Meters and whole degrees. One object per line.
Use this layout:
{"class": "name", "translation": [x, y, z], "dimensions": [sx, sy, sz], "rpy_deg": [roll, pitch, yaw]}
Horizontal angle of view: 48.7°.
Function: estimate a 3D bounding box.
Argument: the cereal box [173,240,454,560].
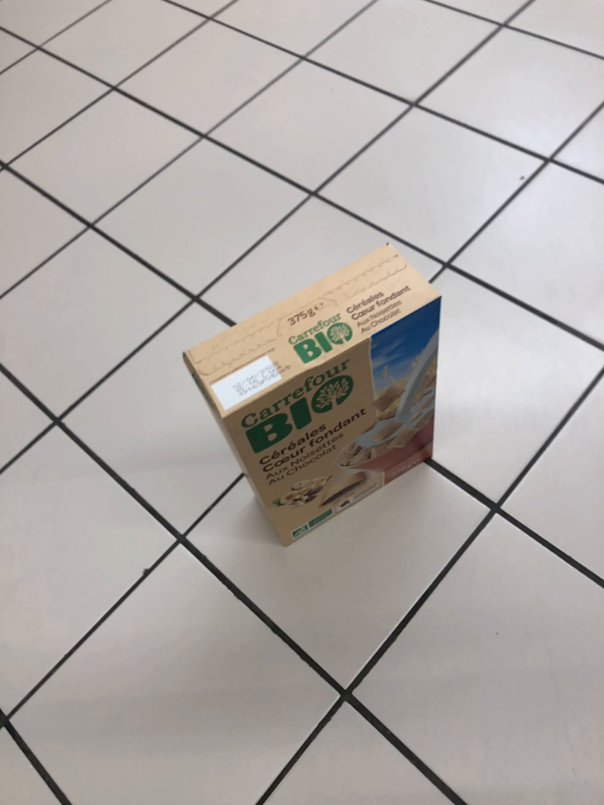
{"class": "cereal box", "translation": [0.023, 0.014, 0.525], "dimensions": [0.170, 0.229, 0.070], "rpy_deg": [-30, 59, -9]}
